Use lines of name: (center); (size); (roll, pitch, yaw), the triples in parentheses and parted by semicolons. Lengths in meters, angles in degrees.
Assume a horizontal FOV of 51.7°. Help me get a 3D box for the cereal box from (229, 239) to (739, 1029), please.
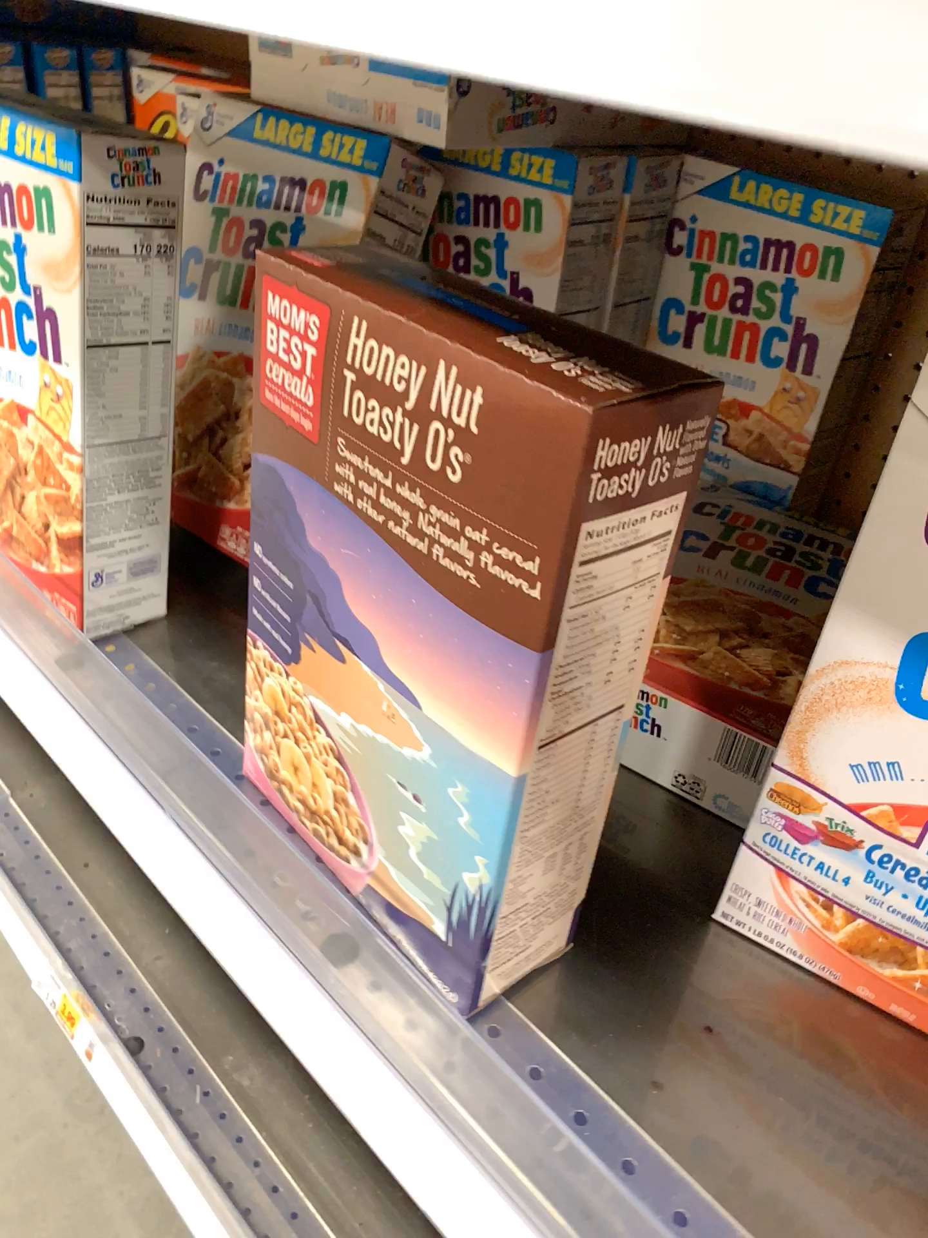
cereal box: (-0.020, 0.003, 0.423); (0.070, 0.279, 0.201); (-19, 41, -38)
